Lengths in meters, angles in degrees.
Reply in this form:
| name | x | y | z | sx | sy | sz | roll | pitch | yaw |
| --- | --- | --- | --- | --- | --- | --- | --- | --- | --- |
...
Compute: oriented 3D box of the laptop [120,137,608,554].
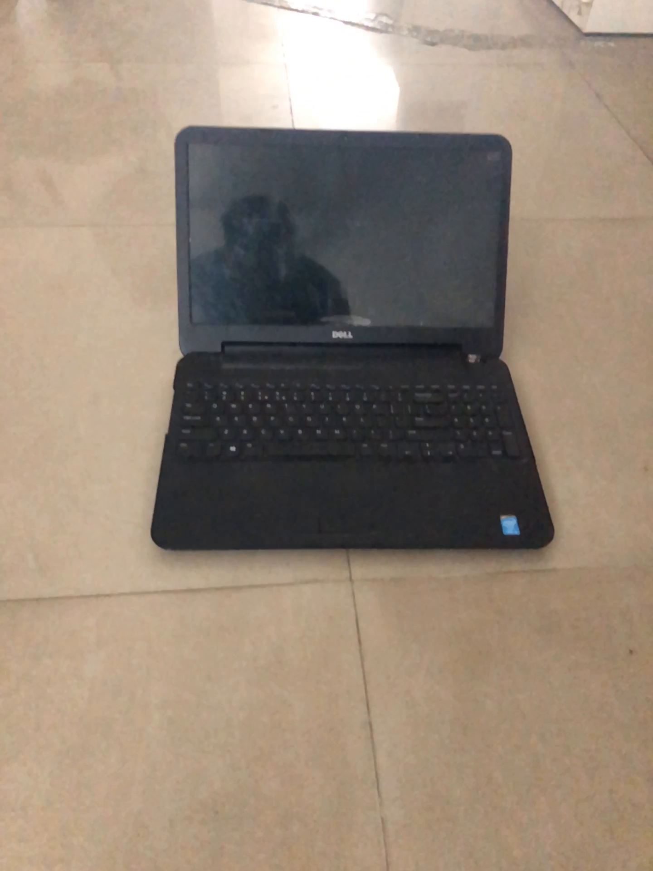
| name | x | y | z | sx | sy | sz | roll | pitch | yaw |
| --- | --- | --- | --- | --- | --- | --- | --- | --- | --- |
| laptop | 0.019 | -0.108 | 0.704 | 0.343 | 0.178 | 0.407 | 0 | 48 | -2 |
